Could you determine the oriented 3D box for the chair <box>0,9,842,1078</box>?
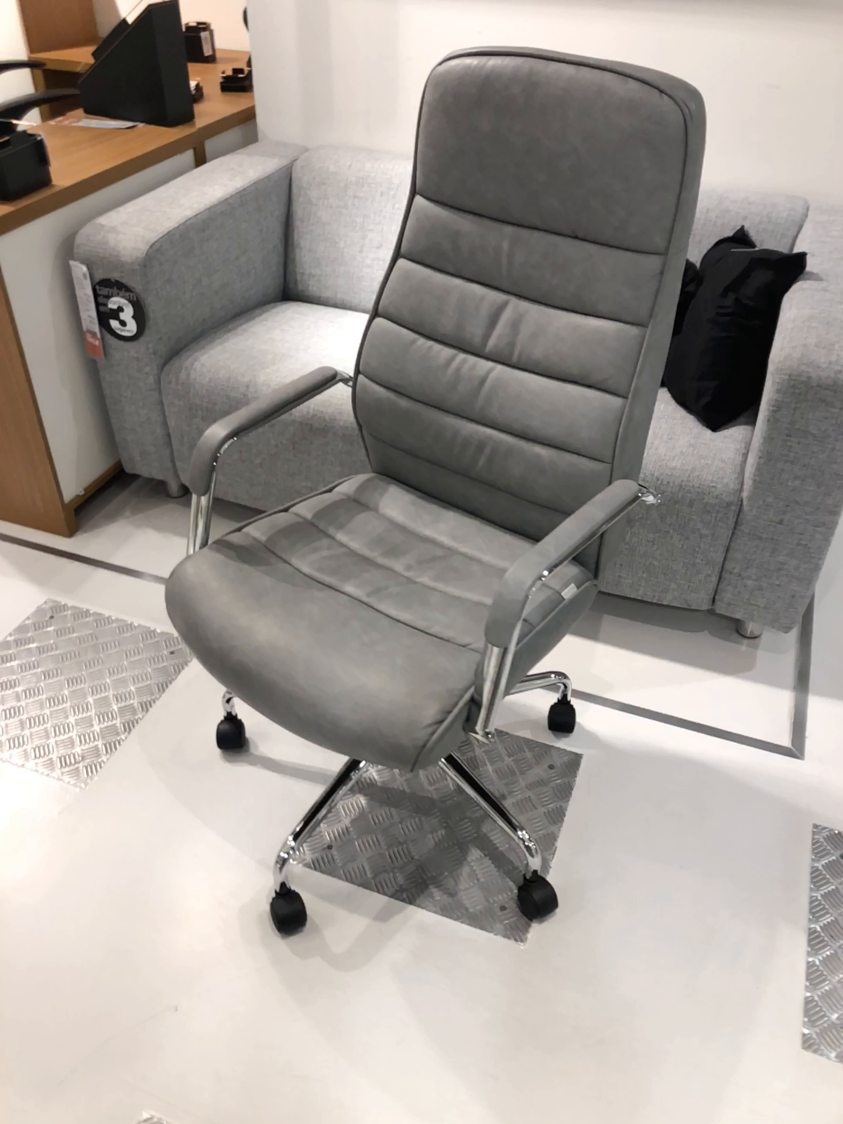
[{"bbox_3d":[-0.038,-0.071,1.261,0.722,1.052,0.724,25,44,28],"label":"chair"}]
